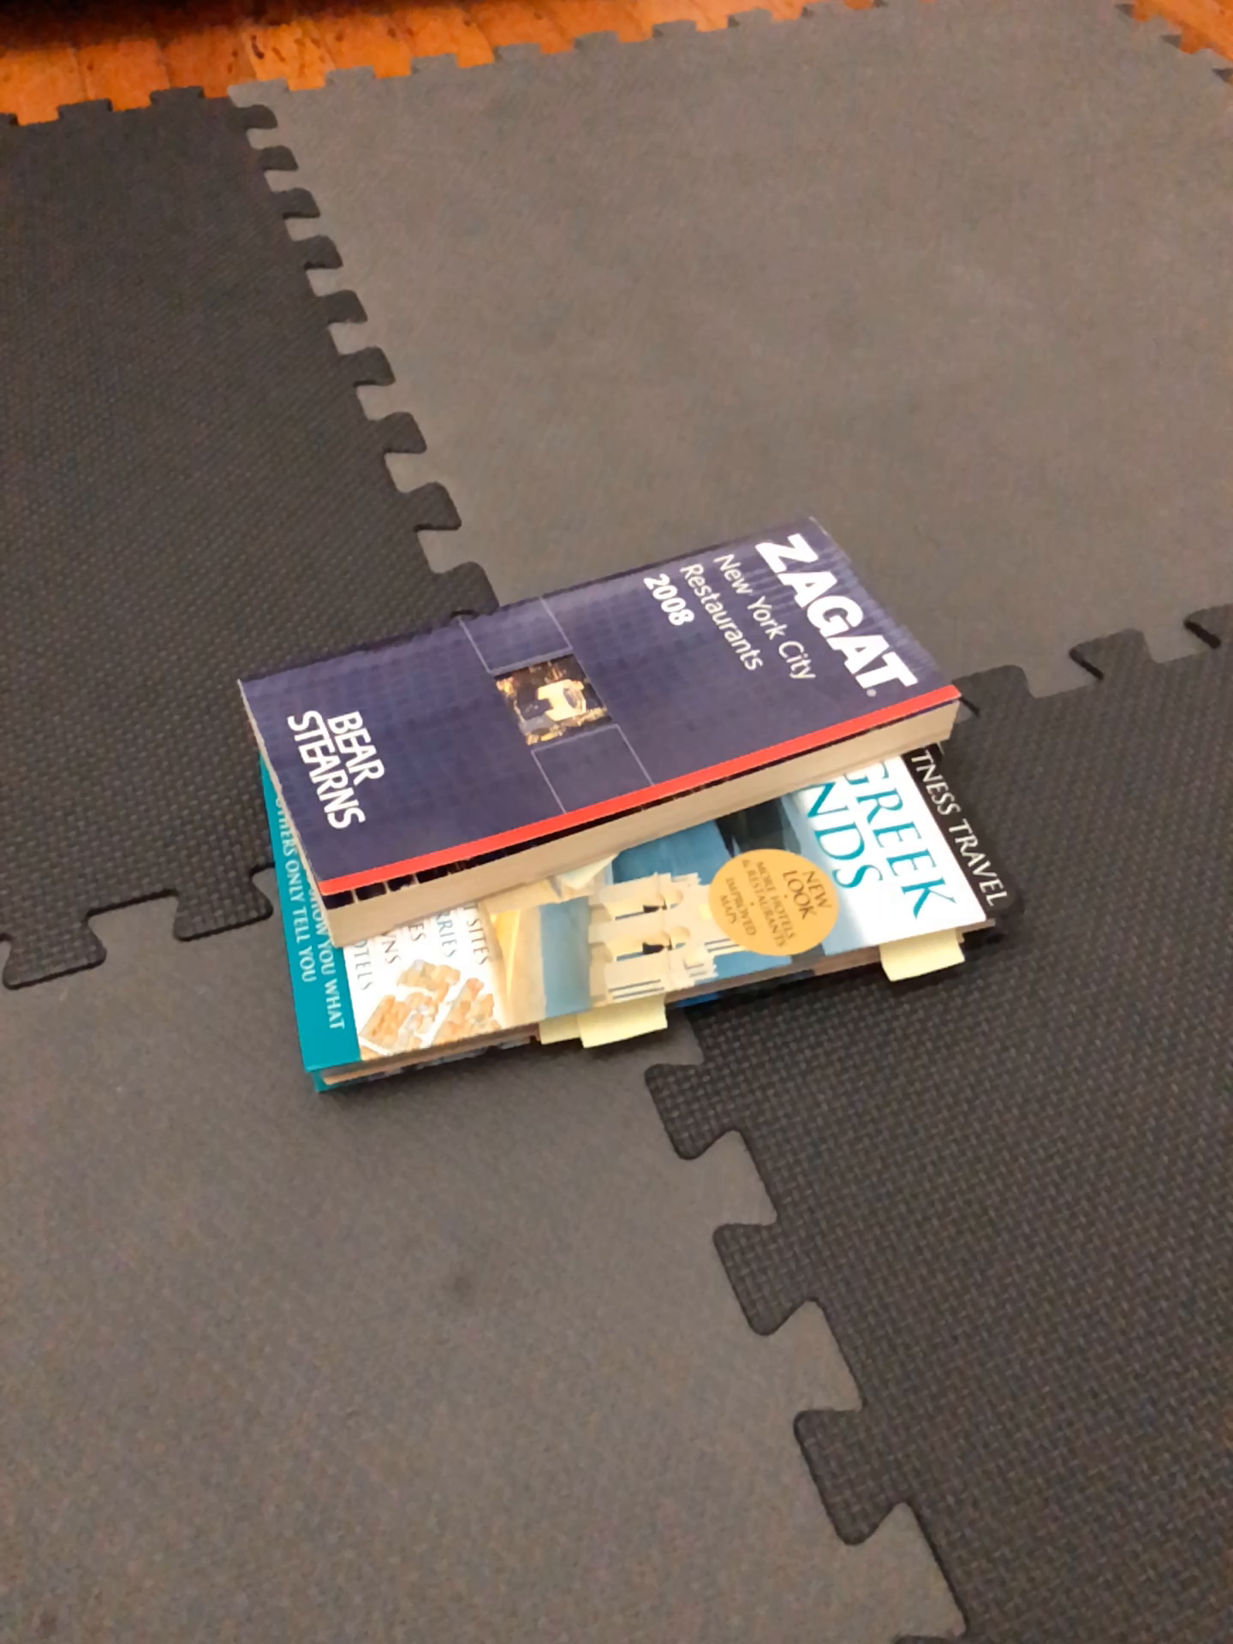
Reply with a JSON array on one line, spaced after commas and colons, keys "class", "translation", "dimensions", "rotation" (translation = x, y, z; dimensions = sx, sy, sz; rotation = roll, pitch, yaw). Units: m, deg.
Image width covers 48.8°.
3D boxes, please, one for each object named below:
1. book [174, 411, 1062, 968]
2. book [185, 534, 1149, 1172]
[{"class": "book", "translation": [-0.003, -0.058, 0.451], "dimensions": [0.250, 0.020, 0.151], "rotation": [-19, 54, -15]}, {"class": "book", "translation": [0.005, -0.005, 0.432], "dimensions": [0.260, 0.030, 0.171], "rotation": [-12, 52, -10]}]
